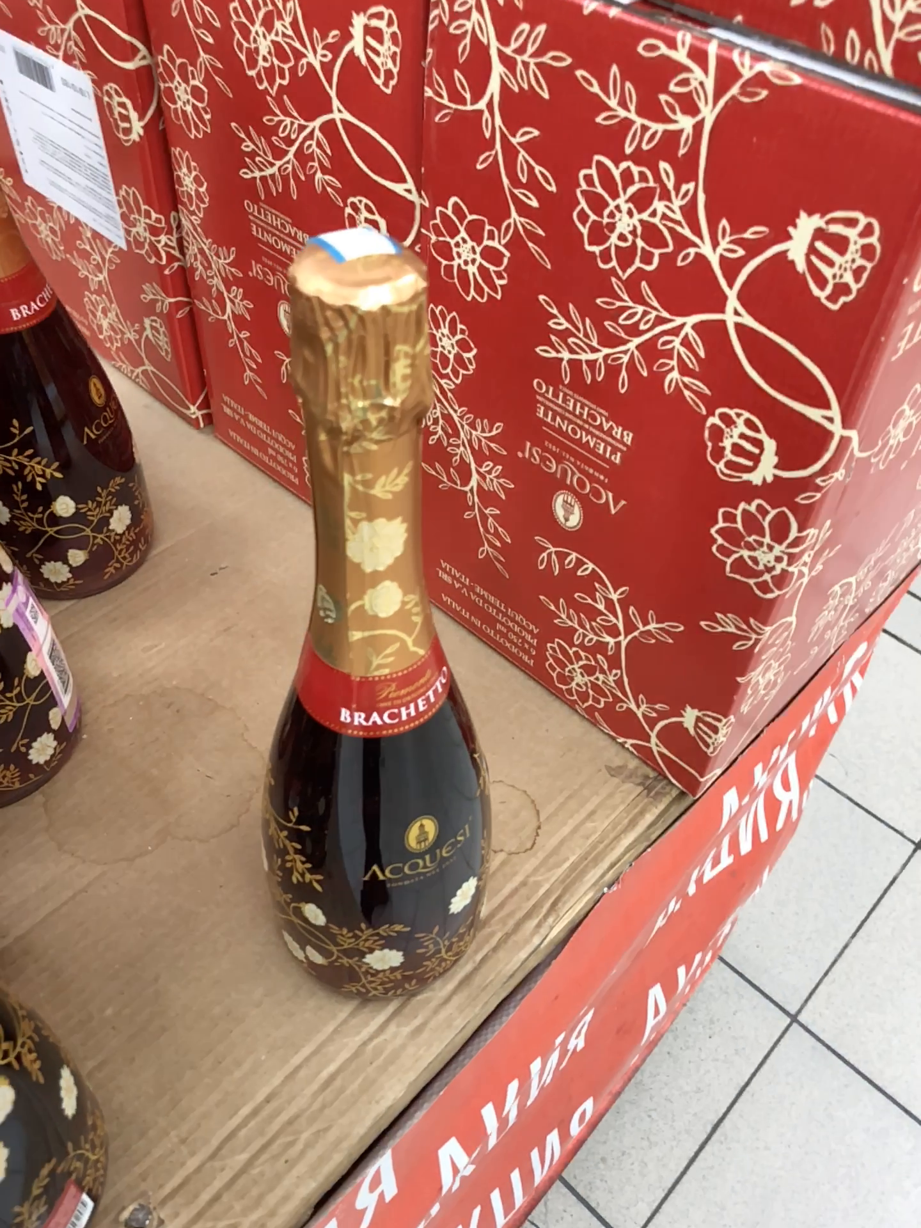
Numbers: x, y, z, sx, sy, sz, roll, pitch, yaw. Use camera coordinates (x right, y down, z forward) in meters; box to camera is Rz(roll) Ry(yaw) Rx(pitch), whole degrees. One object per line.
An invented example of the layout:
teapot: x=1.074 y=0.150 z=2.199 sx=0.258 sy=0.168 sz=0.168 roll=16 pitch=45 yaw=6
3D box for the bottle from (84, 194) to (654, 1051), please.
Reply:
bottle: x=-0.030 y=0.026 z=0.339 sx=0.100 sy=0.279 sz=0.100 roll=2 pitch=47 yaw=-2
